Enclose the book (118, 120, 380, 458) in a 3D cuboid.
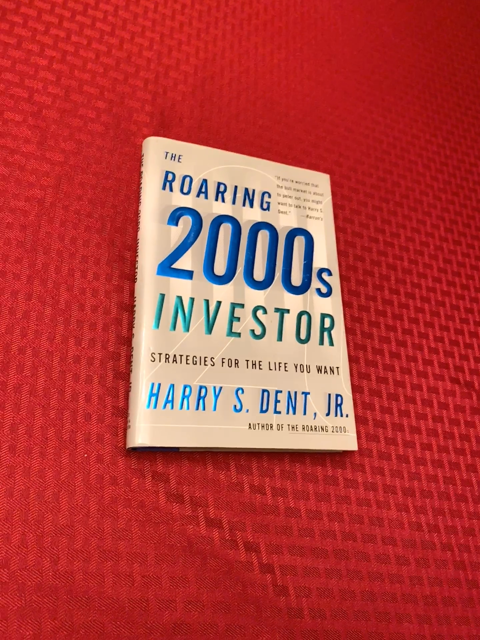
[{"bbox_3d":[0.005,-0.023,0.371,0.170,0.040,0.240,6,67,-20],"label":"book"}]
